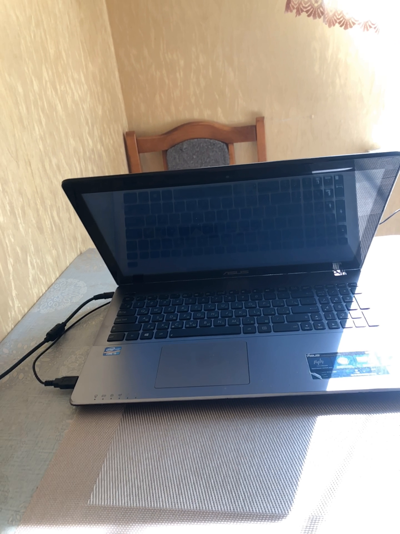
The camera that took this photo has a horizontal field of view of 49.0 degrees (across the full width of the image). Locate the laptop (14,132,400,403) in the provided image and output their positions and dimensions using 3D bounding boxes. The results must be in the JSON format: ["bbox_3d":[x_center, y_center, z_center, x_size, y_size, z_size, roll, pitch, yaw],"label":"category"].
[{"bbox_3d":[0.038,-0.014,0.515,0.369,0.196,0.244,-4,27,5],"label":"laptop"}]
